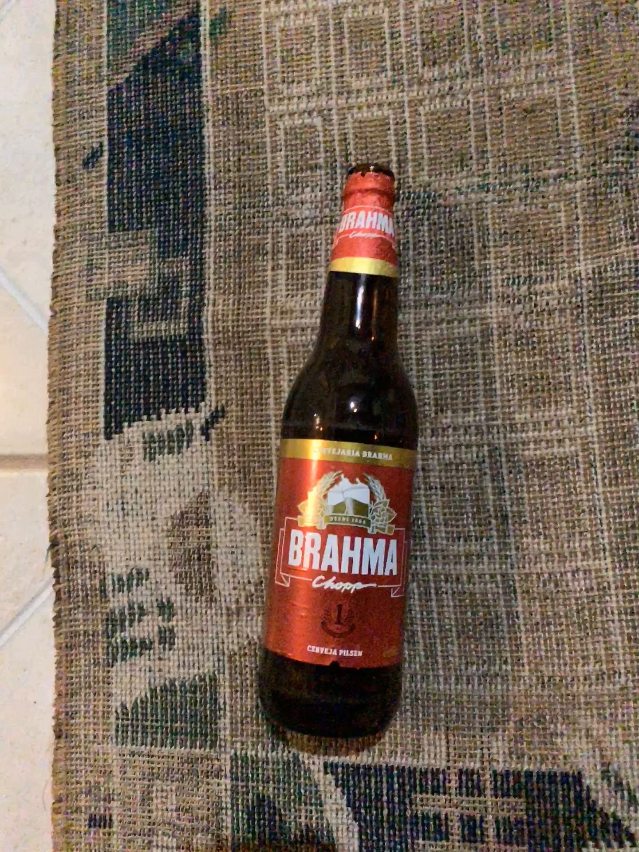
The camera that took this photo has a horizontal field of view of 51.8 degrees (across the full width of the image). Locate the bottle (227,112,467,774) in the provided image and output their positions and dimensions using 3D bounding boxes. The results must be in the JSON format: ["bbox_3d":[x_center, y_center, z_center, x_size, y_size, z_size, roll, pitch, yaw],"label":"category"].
[{"bbox_3d":[0.016,0.001,0.312,0.080,0.060,0.280,5,84,6],"label":"bottle"}]
